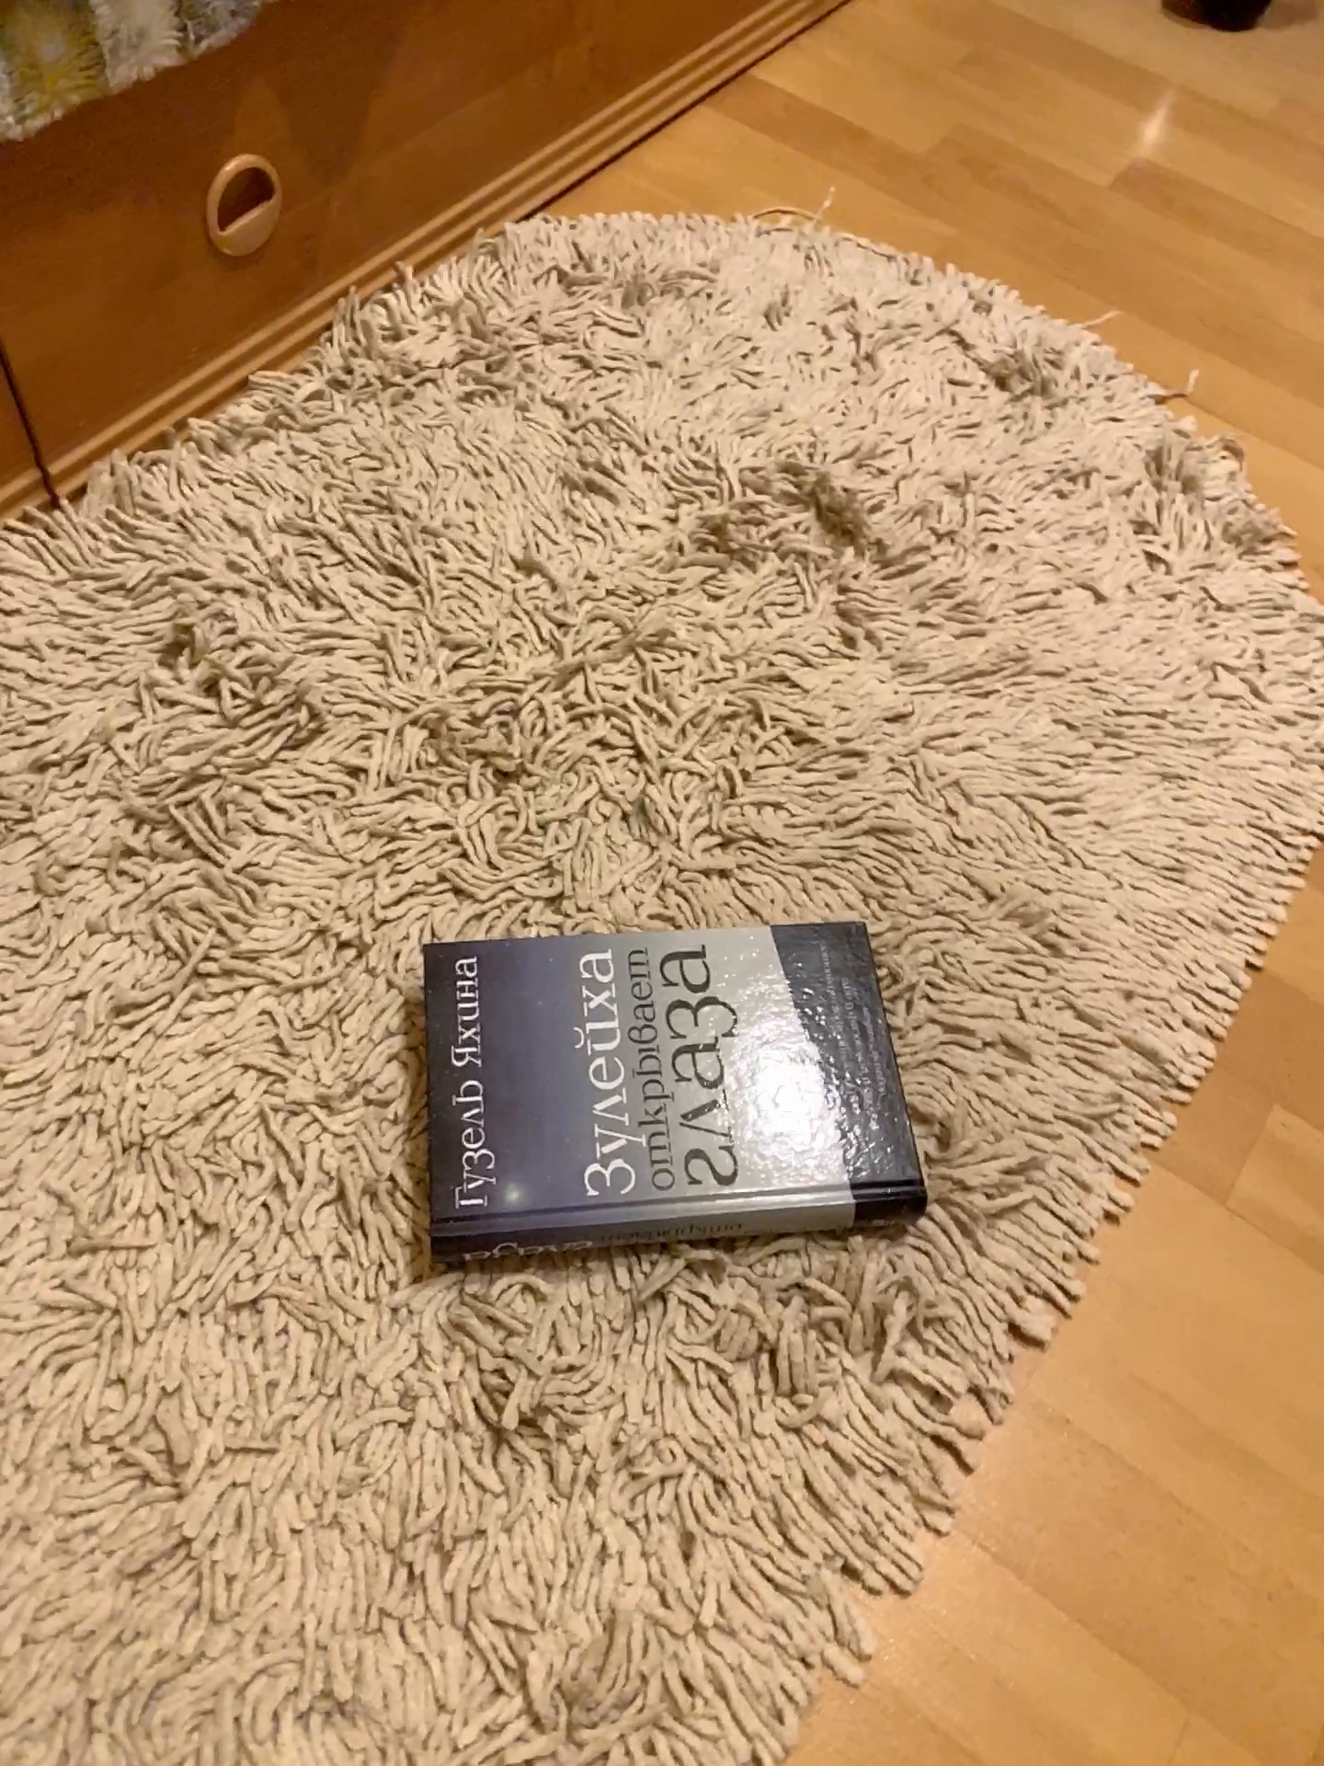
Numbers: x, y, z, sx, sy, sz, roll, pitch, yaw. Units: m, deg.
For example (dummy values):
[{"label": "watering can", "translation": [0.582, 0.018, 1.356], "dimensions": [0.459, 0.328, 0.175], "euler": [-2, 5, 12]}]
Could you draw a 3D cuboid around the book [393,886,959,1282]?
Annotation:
[{"label": "book", "translation": [-0.001, 0.080, 0.578], "dimensions": [0.220, 0.040, 0.151], "euler": [-2, 58, -9]}]
